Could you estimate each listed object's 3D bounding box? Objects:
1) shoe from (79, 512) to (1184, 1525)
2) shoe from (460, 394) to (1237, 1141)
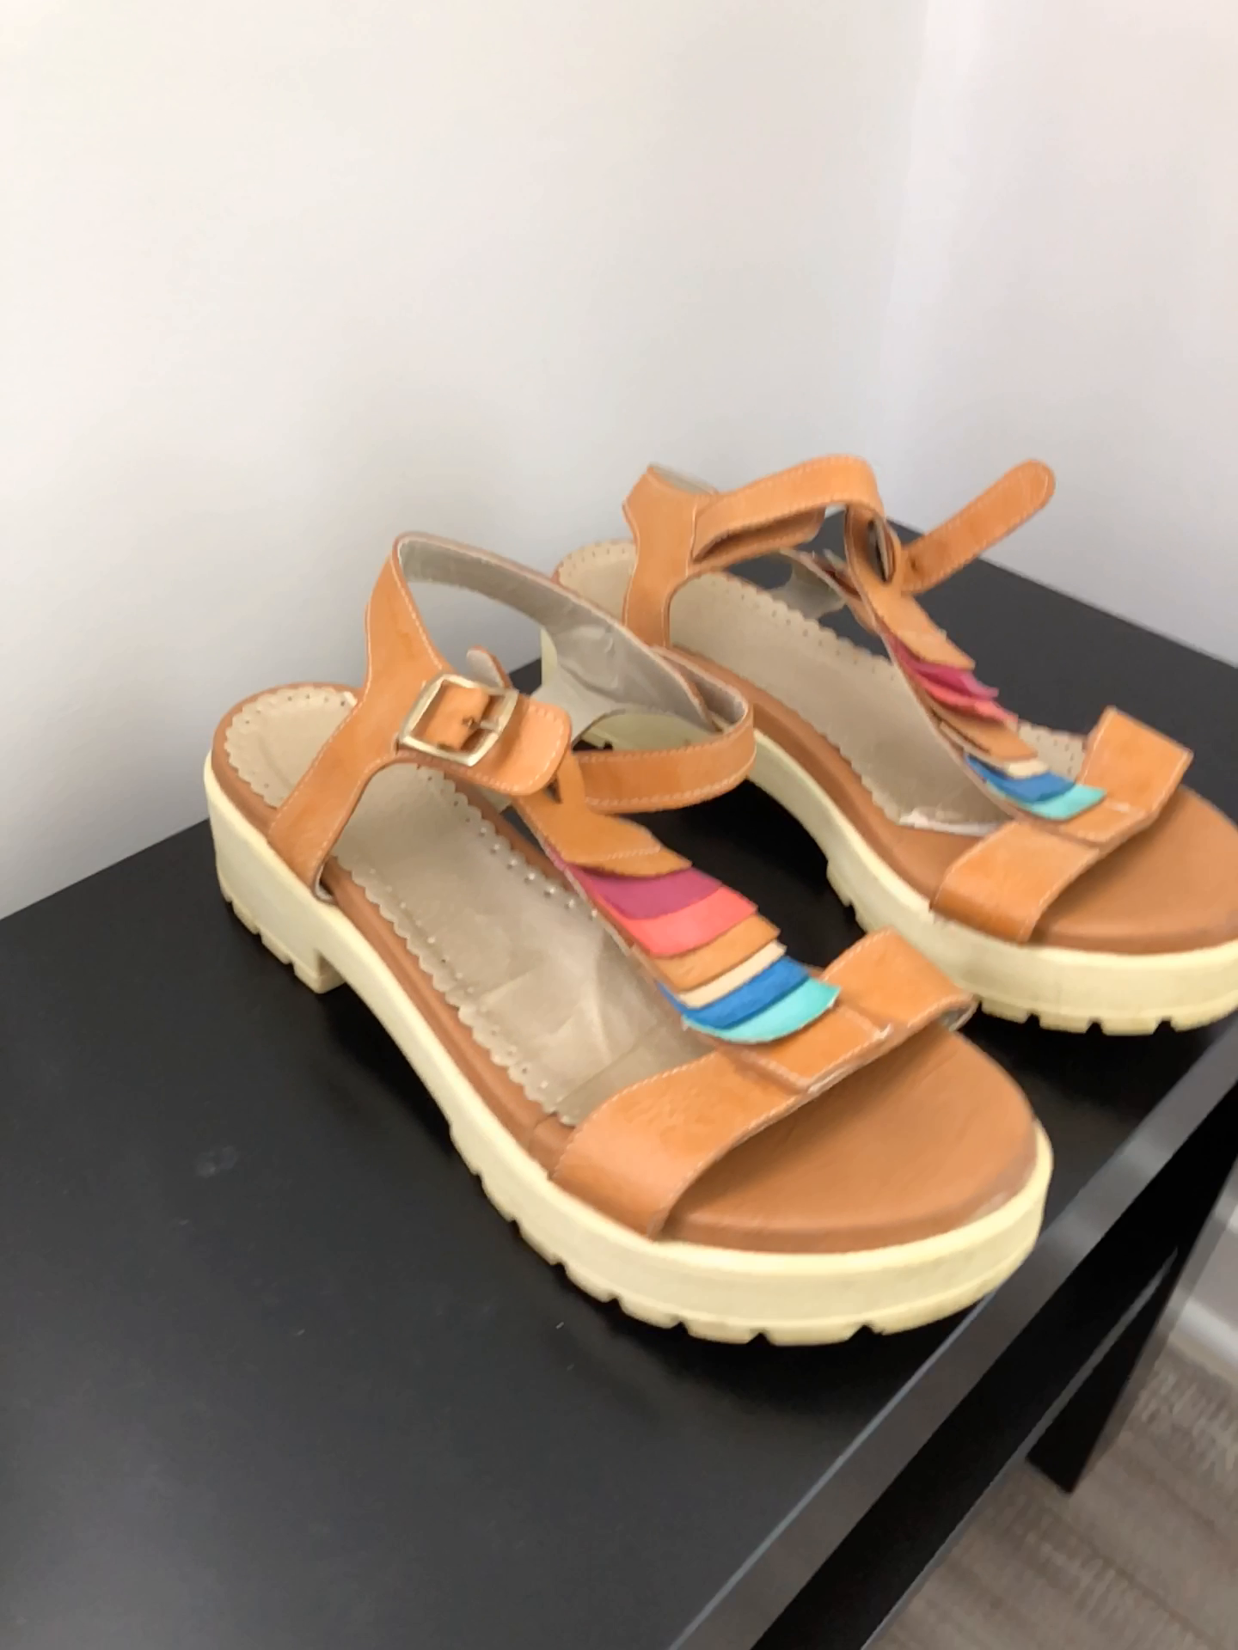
[{"bbox_3d":[-0.015,0.020,0.327,0.100,0.083,0.248,-30,49,-34],"label":"shoe"},{"bbox_3d":[0.073,-0.036,0.388,0.100,0.077,0.248,-30,49,-34],"label":"shoe"}]
